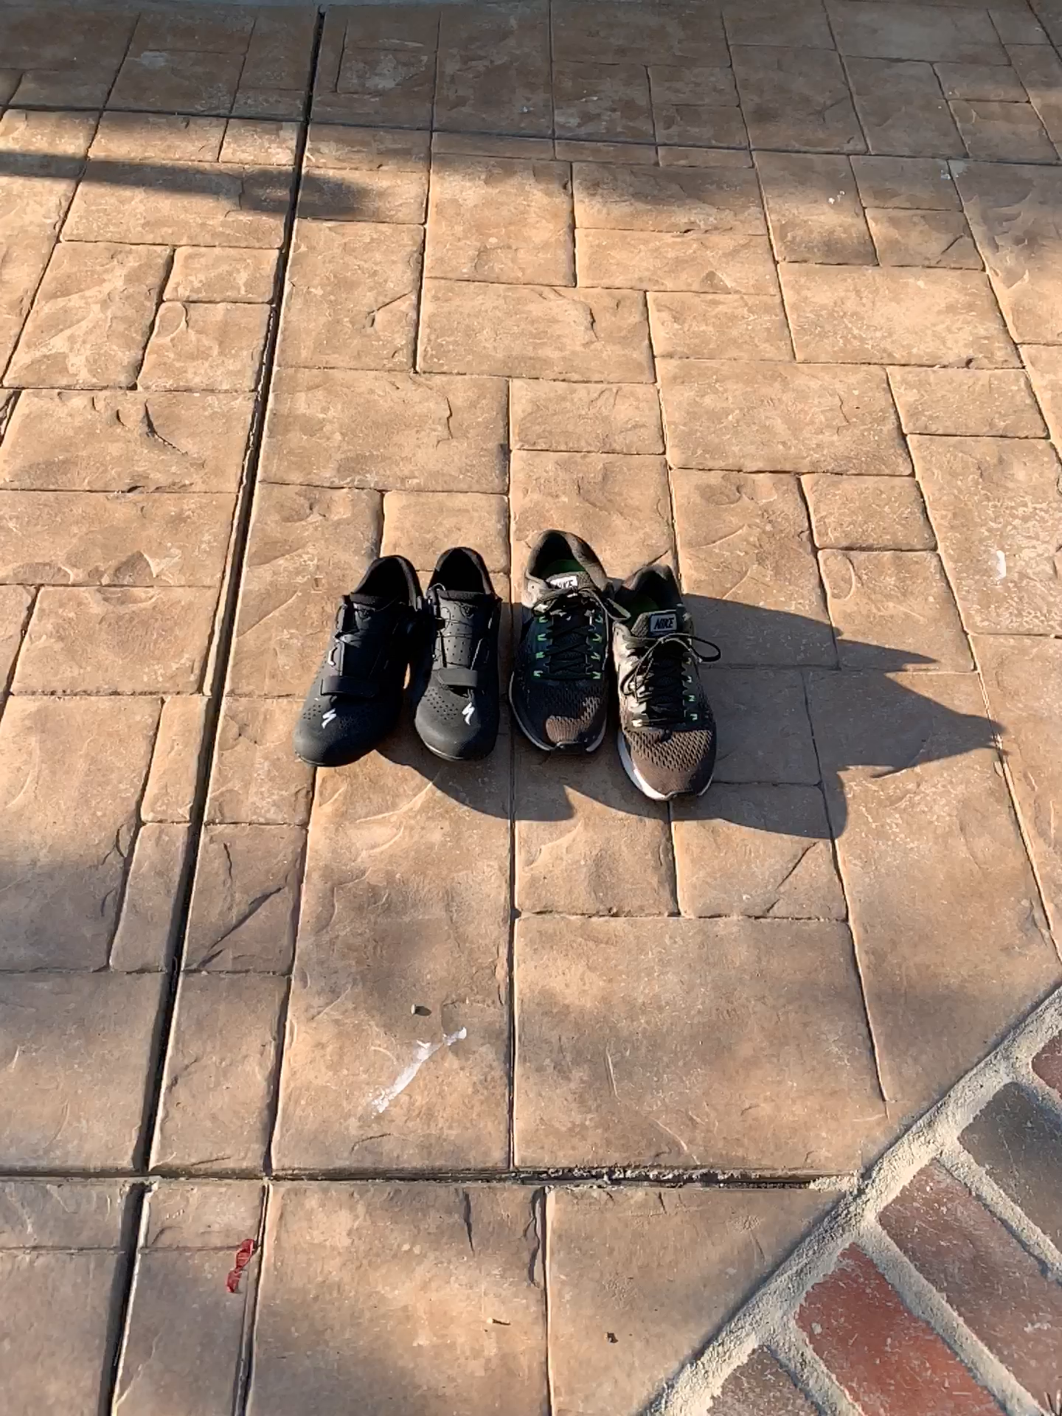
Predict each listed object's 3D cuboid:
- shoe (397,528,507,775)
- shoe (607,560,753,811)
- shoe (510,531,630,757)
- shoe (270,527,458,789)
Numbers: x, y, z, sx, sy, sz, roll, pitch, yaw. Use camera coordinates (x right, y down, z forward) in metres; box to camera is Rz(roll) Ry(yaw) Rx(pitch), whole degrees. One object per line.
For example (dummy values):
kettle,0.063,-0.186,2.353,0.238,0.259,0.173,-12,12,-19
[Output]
shoe,-0.076,-0.063,1.100,0.100,0.070,0.261,1,55,-3
shoe,0.152,-0.029,1.155,0.120,0.080,0.271,1,55,-3
shoe,0.038,-0.075,1.203,0.120,0.070,0.261,1,55,-3
shoe,-0.165,-0.059,1.124,0.100,0.070,0.271,14,56,6
